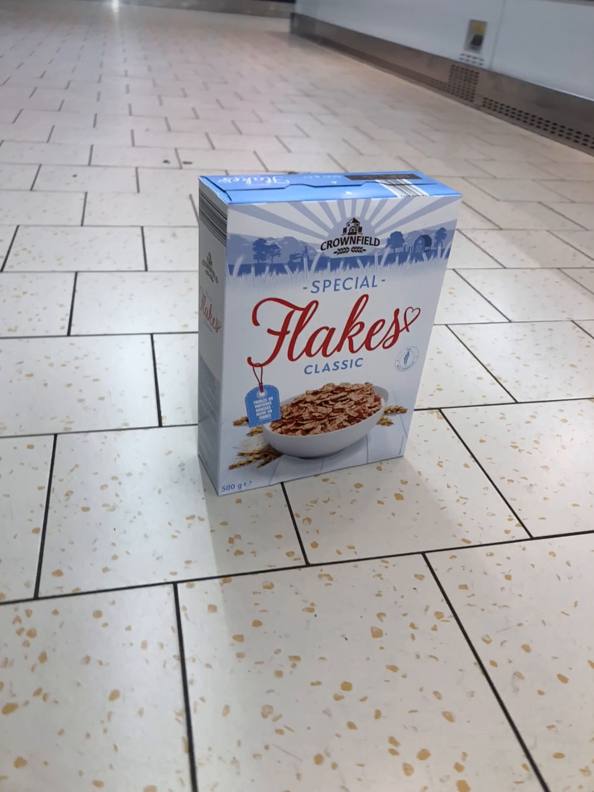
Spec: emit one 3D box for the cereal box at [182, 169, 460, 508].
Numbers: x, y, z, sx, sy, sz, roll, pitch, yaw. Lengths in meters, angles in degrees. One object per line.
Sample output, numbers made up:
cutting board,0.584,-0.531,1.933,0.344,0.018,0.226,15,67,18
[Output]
cereal box,0.009,-0.048,0.561,0.201,0.268,0.070,-8,34,-22
